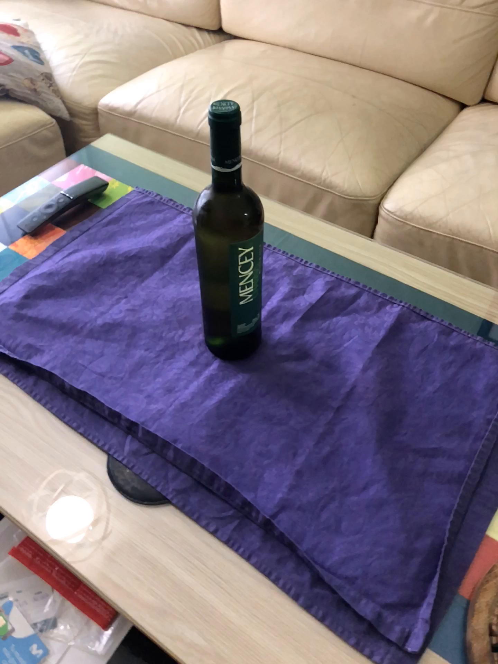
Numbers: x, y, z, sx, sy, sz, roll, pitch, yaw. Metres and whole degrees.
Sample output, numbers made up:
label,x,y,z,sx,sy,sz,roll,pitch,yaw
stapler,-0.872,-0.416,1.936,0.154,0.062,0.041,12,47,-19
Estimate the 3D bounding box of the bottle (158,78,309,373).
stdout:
label,x,y,z,sx,sy,sz,roll,pitch,yaw
bottle,-0.014,-0.091,0.551,0.090,0.269,0.090,0,48,0
